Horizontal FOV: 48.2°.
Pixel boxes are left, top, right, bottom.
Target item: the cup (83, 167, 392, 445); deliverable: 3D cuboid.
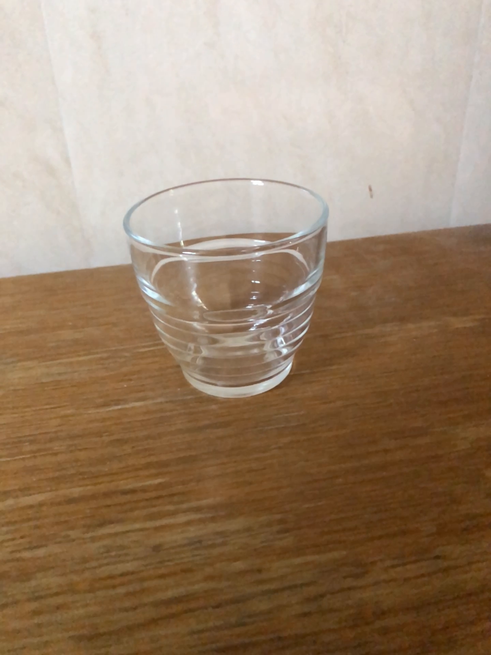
[{"bbox_3d":[-0.005,-0.016,0.210,0.080,0.060,0.080,-2,30,1],"label":"cup"}]
